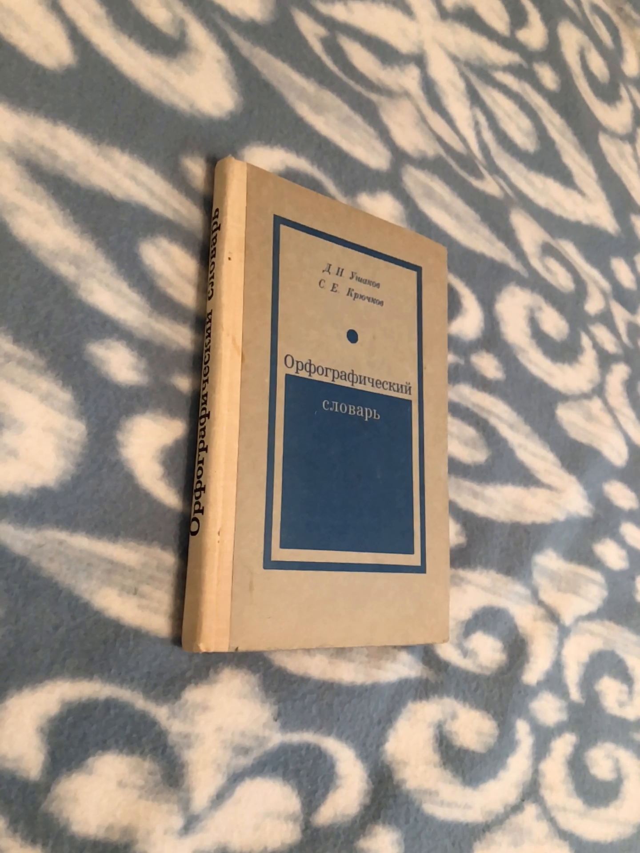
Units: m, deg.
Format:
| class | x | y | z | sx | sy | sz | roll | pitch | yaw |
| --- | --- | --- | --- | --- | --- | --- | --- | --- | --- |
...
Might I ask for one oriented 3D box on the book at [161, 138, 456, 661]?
| class | x | y | z | sx | sy | sz | roll | pitch | yaw |
| --- | --- | --- | --- | --- | --- | --- | --- | --- | --- |
| book | 0.005 | -0.007 | 0.323 | 0.137 | 0.022 | 0.210 | 11 | 74 | -35 |
